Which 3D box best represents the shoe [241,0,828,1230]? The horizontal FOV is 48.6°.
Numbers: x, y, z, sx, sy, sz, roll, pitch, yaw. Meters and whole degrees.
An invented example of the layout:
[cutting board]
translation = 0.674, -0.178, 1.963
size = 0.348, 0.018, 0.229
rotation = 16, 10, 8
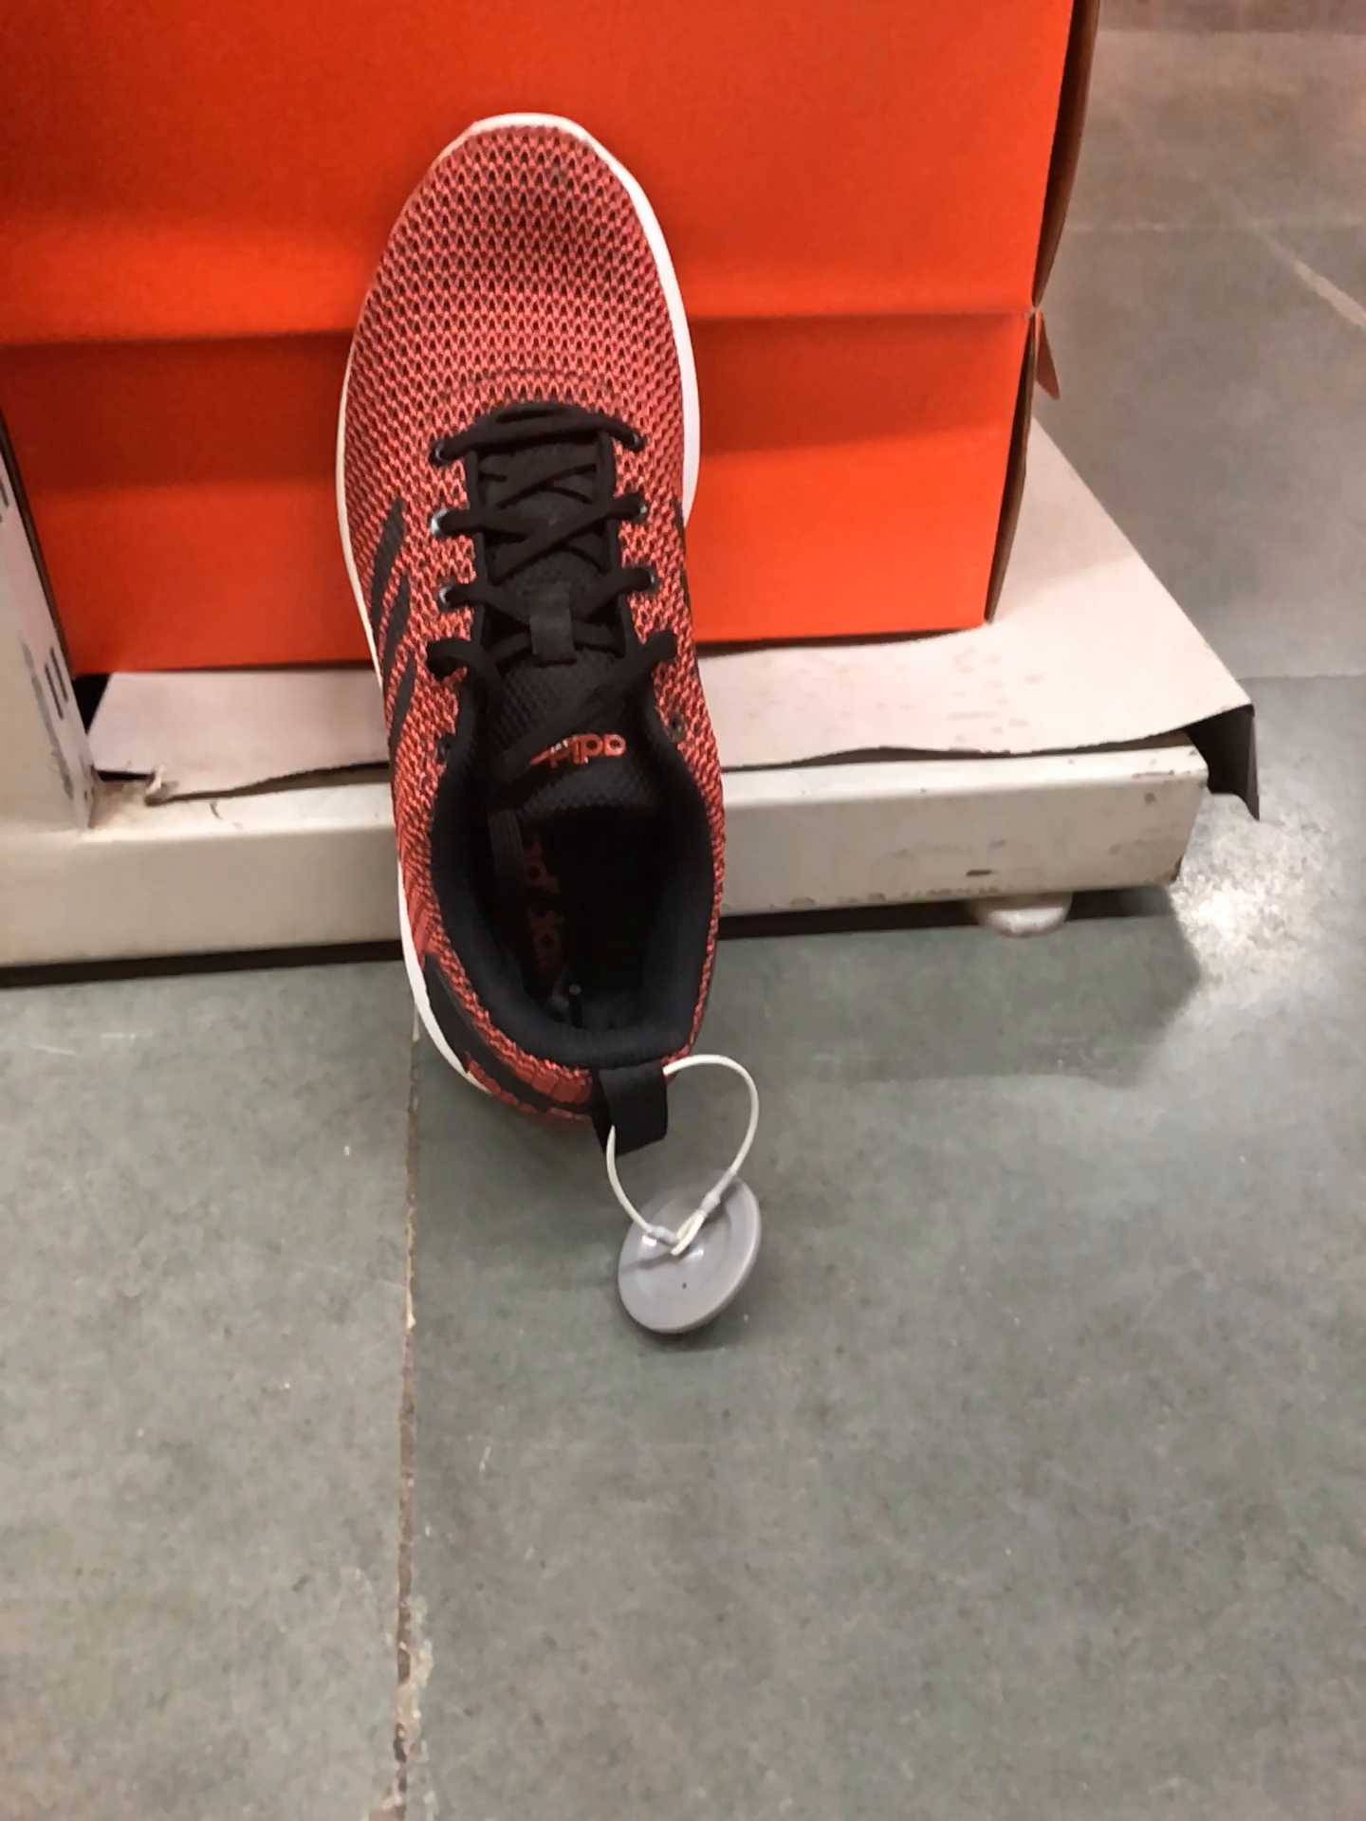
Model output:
[shoe]
translation = -0.035, -0.077, 0.378
size = 0.110, 0.271, 0.133
rotation = -2, 6, -7
